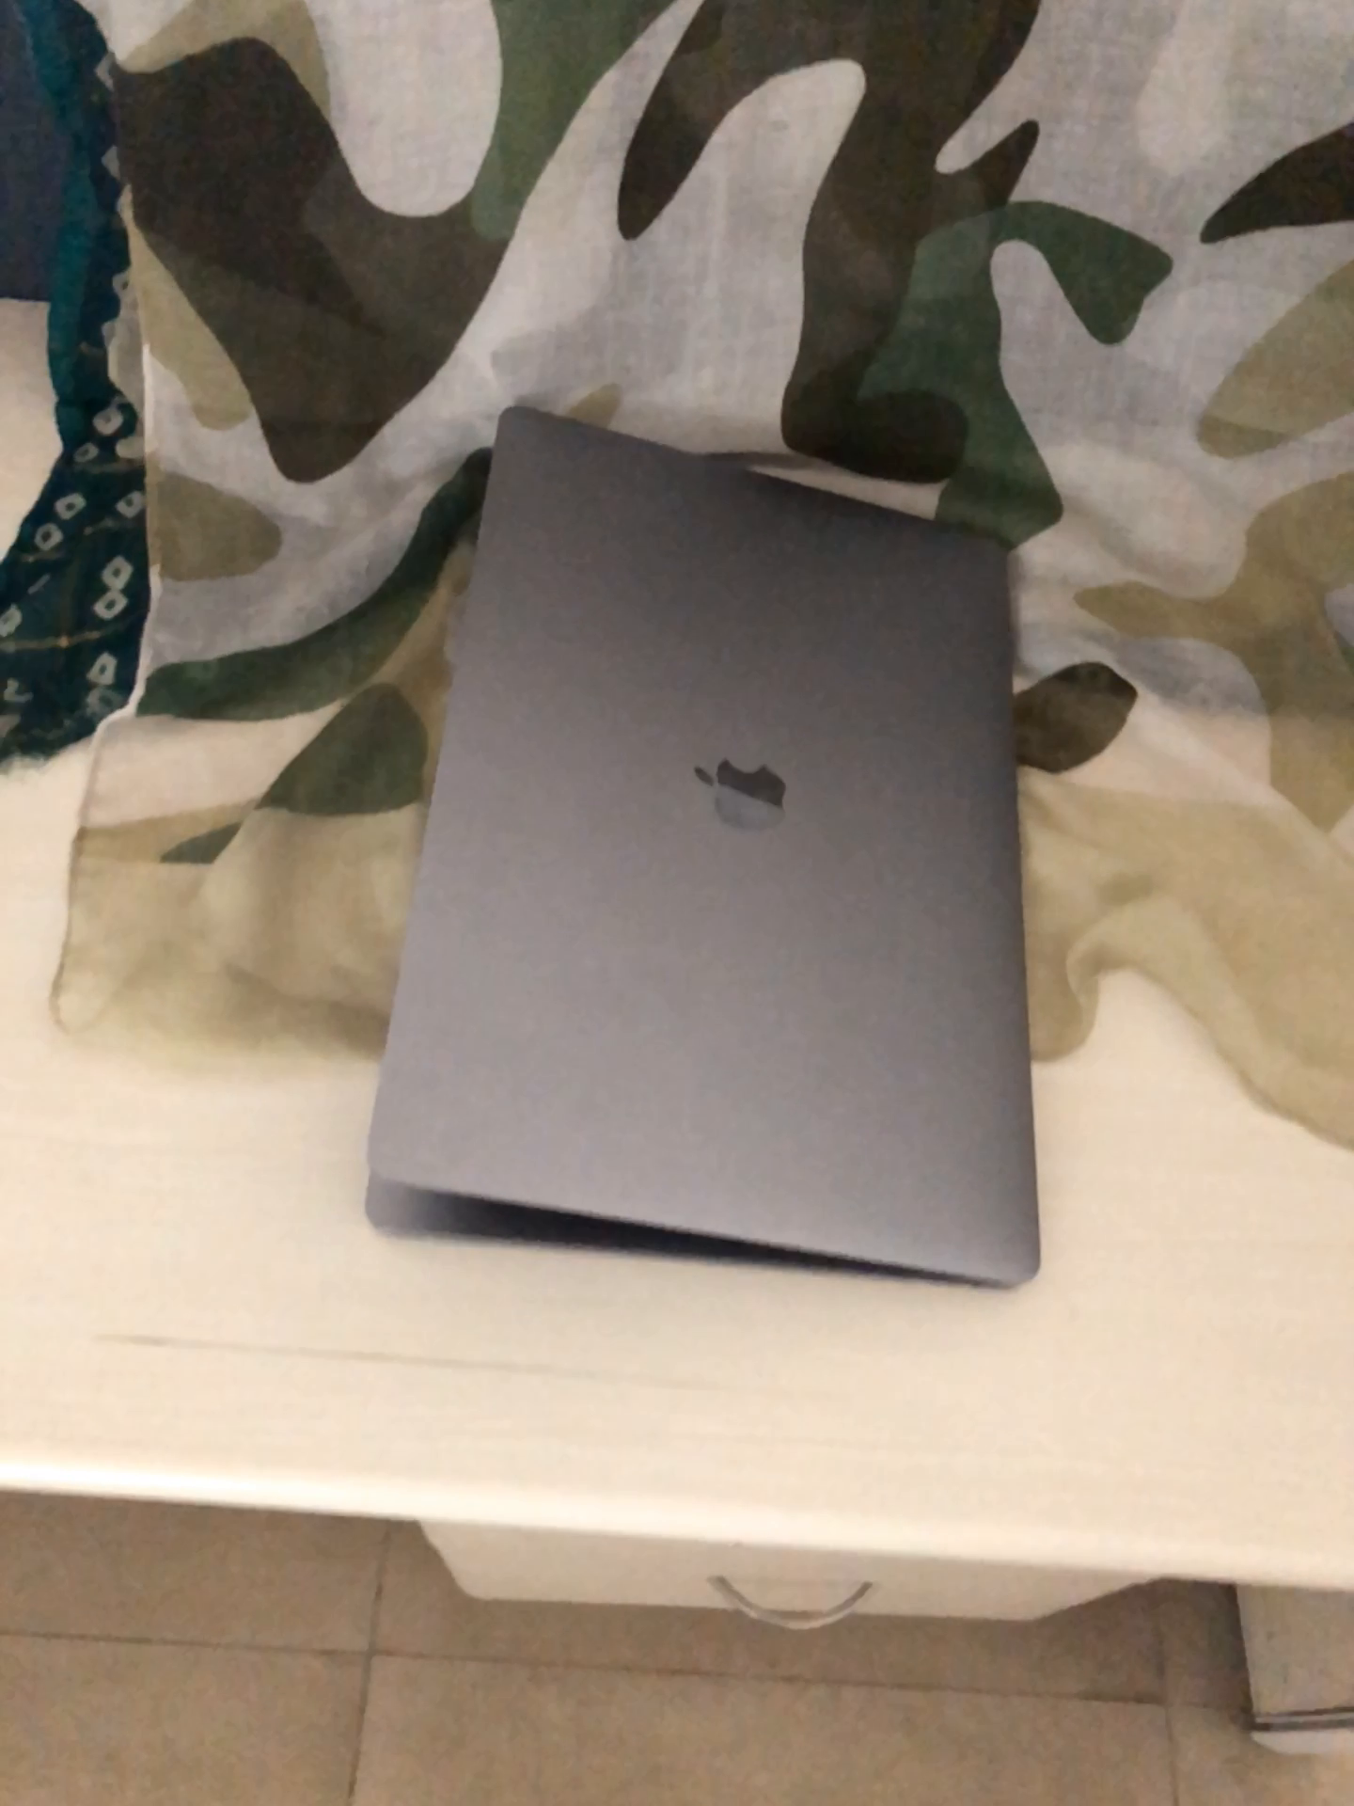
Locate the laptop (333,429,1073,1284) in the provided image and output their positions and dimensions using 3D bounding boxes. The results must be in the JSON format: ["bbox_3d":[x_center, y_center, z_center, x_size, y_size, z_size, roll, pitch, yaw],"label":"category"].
[{"bbox_3d":[0.021,-0.036,0.588,0.236,0.058,0.339,5,59,0],"label":"laptop"}]
